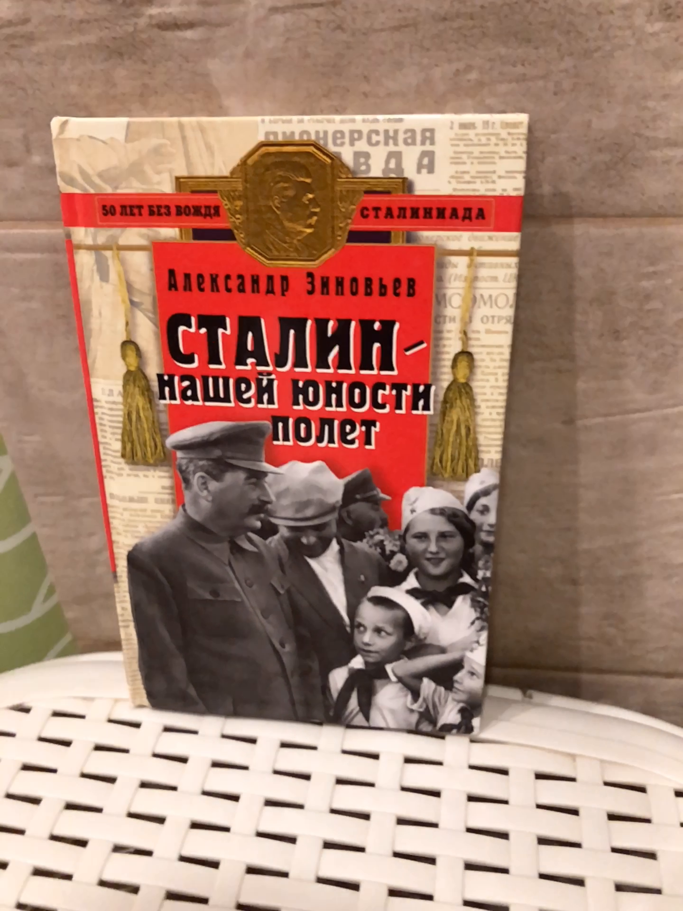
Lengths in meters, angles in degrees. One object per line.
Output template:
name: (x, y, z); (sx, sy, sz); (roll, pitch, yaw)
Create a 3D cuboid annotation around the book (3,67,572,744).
book: (-0.013, -0.006, 0.236); (0.140, 0.199, 0.030); (3, 24, 9)
